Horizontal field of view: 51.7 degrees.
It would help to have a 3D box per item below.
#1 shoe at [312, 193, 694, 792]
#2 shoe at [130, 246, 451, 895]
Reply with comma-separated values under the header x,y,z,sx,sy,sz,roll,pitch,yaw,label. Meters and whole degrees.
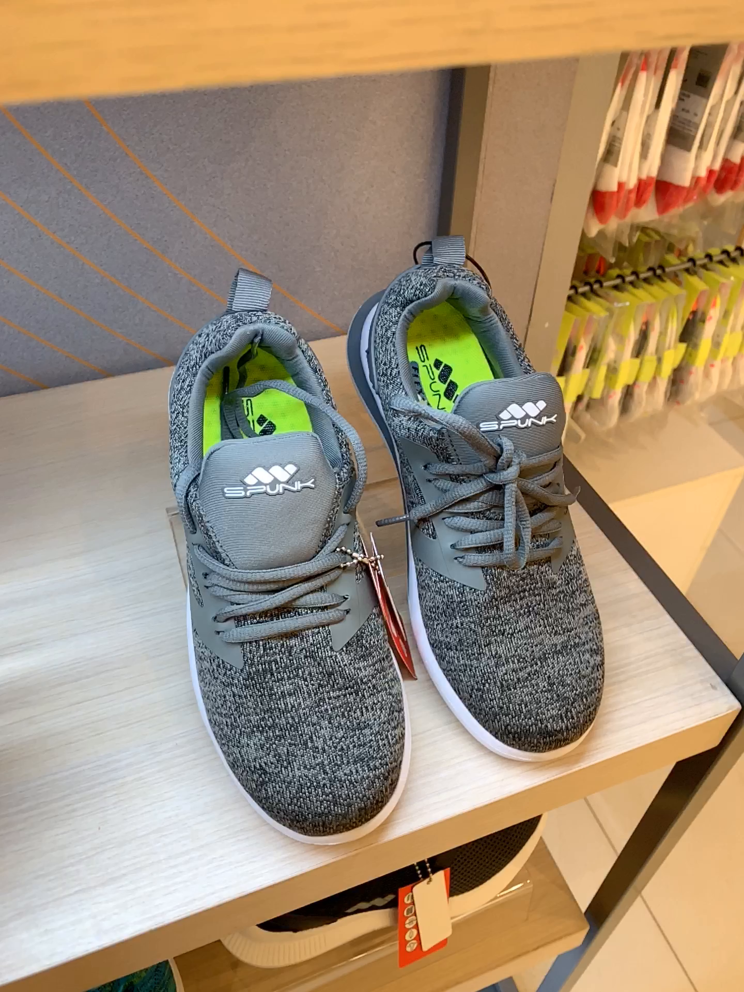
x,y,z,sx,sy,sz,roll,pitch,yaw,label
0.051,-0.005,0.357,0.090,0.080,0.240,-12,82,-16,shoe
-0.041,0.024,0.334,0.080,0.080,0.241,-10,78,-12,shoe
